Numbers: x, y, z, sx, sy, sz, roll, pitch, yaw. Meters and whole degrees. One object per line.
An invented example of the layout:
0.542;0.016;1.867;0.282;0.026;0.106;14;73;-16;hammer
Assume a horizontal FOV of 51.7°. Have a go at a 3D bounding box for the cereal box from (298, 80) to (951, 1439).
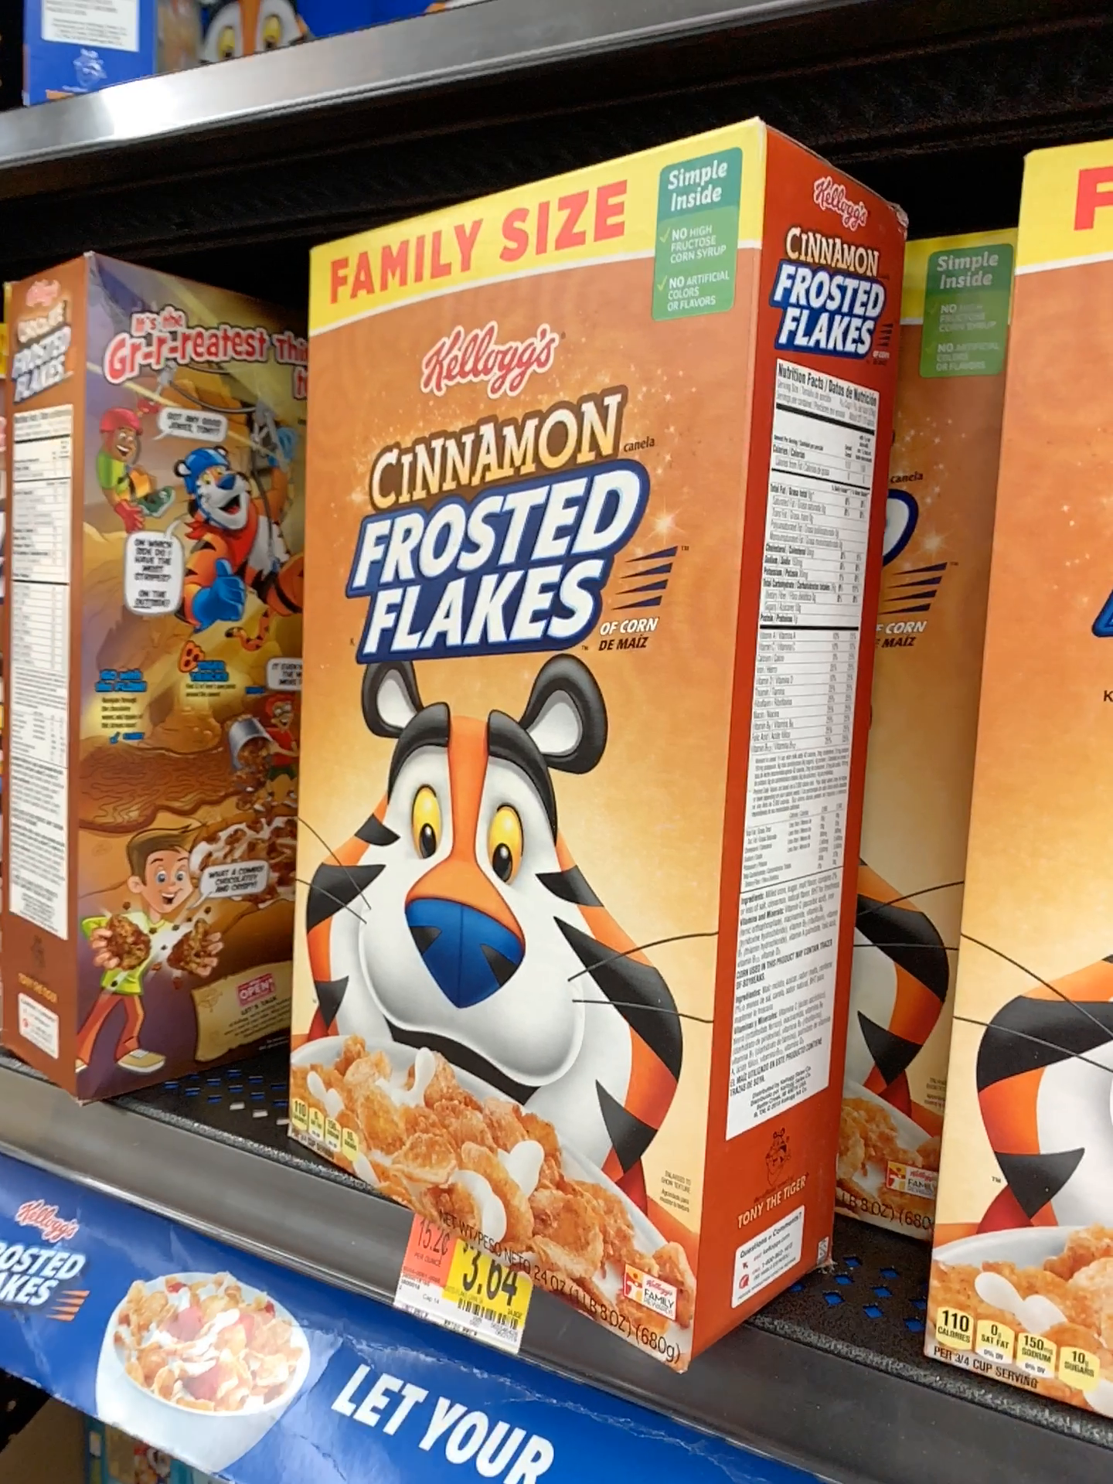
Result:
0.007;0.001;0.384;0.200;0.340;0.080;7;6;44;cereal box
